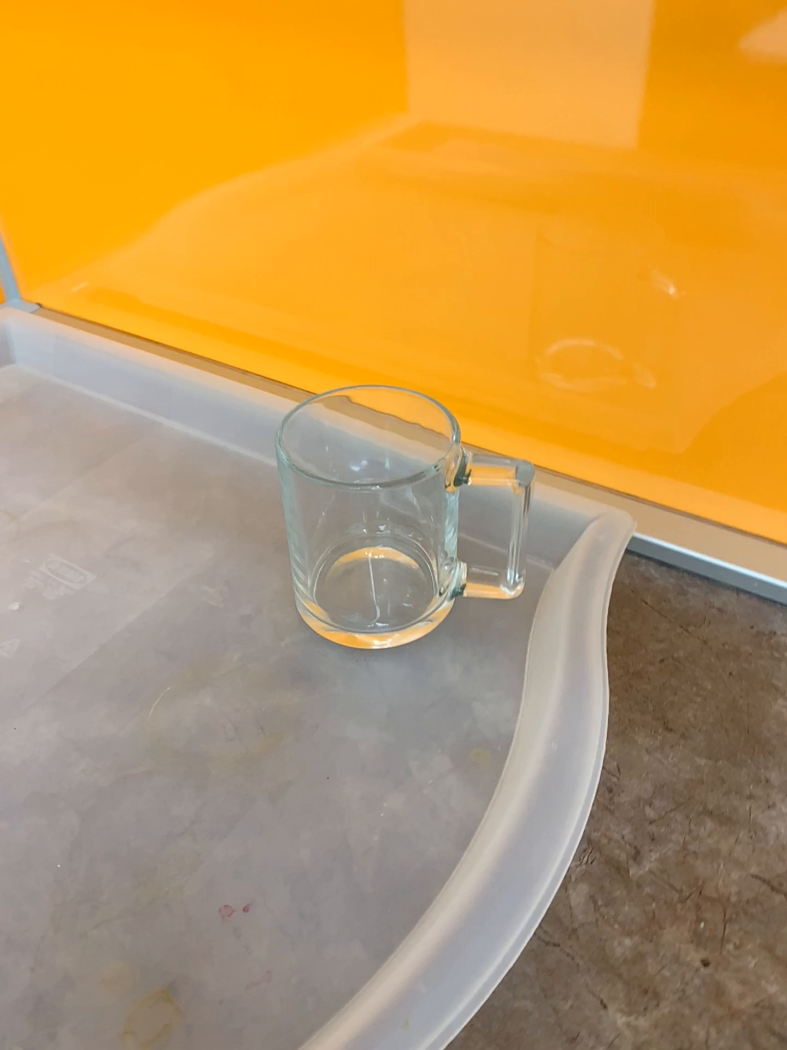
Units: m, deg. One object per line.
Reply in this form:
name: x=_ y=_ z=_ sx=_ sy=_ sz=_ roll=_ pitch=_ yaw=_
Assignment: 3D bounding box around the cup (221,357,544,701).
cup: x=0.000 y=0.001 z=0.346 sx=0.108 sy=0.104 sz=0.082 roll=8 pitch=41 yaw=9
